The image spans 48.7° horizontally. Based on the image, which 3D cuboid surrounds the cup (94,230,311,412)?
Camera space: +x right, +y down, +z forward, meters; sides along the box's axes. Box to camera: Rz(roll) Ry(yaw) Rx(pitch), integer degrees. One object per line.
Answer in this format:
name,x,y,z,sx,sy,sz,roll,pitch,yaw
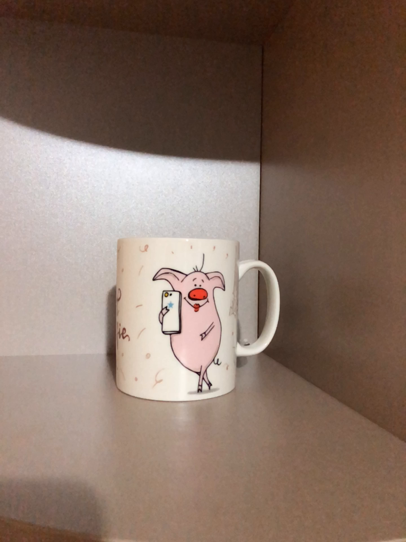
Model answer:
cup,-0.002,0.026,0.305,0.118,0.096,0.086,0,1,-31
